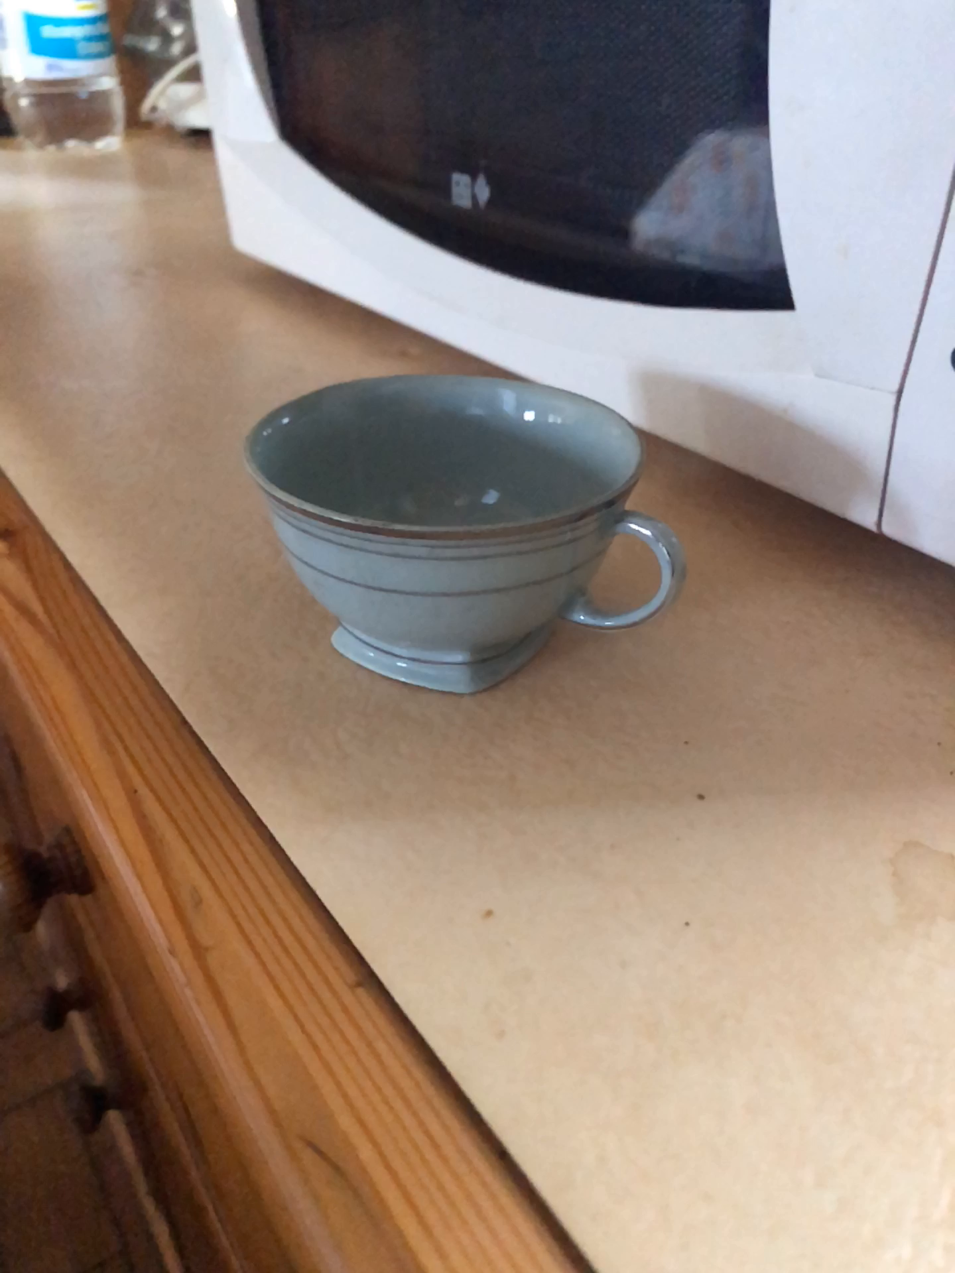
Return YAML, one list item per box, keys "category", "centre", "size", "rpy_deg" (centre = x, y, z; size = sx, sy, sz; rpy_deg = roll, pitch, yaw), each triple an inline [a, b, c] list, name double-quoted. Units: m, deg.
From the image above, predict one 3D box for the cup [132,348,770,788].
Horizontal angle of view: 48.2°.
- category: "cup"
  centre: [-0.002, -0.022, 0.222]
  size: [0.100, 0.040, 0.081]
  rpy_deg: [15, 36, 23]
